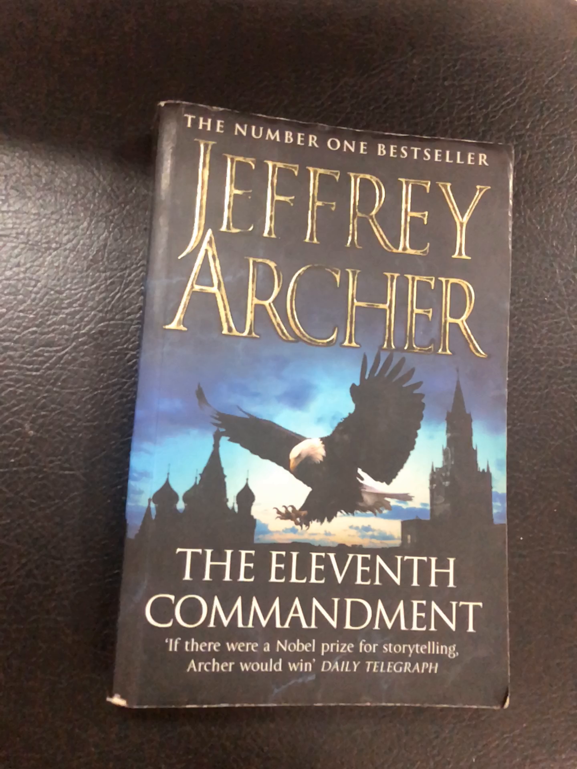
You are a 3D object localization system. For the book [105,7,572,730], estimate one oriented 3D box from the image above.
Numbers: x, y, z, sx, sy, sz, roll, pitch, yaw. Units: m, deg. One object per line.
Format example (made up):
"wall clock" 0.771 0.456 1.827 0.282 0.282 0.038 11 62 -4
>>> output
"book" 0.019 -0.002 0.209 0.130 0.040 0.200 6 83 -12
